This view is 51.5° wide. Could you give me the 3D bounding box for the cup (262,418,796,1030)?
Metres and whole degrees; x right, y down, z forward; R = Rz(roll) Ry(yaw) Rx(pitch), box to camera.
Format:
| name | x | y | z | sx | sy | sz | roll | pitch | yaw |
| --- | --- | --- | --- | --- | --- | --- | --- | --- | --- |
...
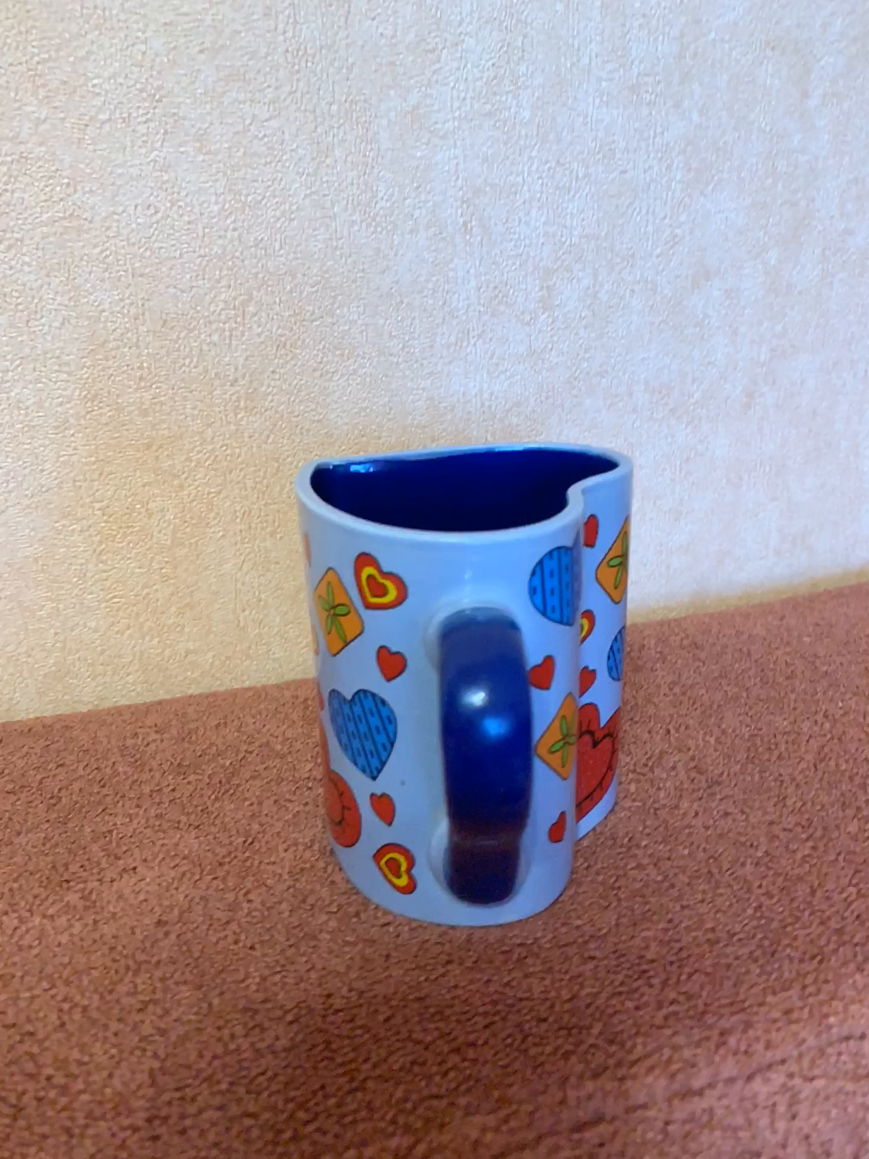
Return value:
| name | x | y | z | sx | sy | sz | roll | pitch | yaw |
| --- | --- | --- | --- | --- | --- | --- | --- | --- | --- |
| cup | 0.010 | 0.021 | 0.205 | 0.088 | 0.090 | 0.098 | -6 | 22 | -9 |
